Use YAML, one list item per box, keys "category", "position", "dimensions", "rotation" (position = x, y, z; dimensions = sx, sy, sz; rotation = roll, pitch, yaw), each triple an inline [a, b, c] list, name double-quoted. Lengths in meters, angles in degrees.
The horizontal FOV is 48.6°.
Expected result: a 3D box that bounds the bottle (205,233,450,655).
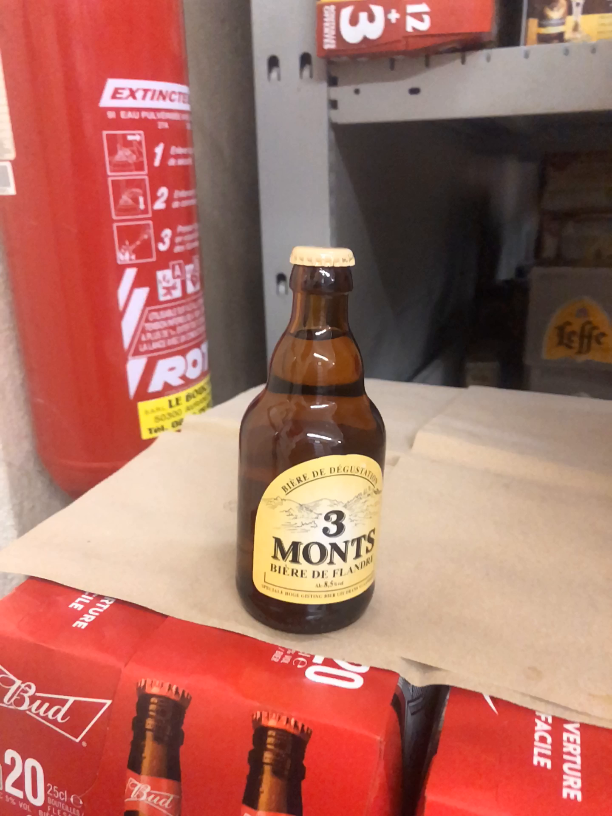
- category: "bottle"
  position: [0.004, 0.009, 0.308]
  dimensions: [0.080, 0.166, 0.080]
  rotation: [0, 17, 0]
